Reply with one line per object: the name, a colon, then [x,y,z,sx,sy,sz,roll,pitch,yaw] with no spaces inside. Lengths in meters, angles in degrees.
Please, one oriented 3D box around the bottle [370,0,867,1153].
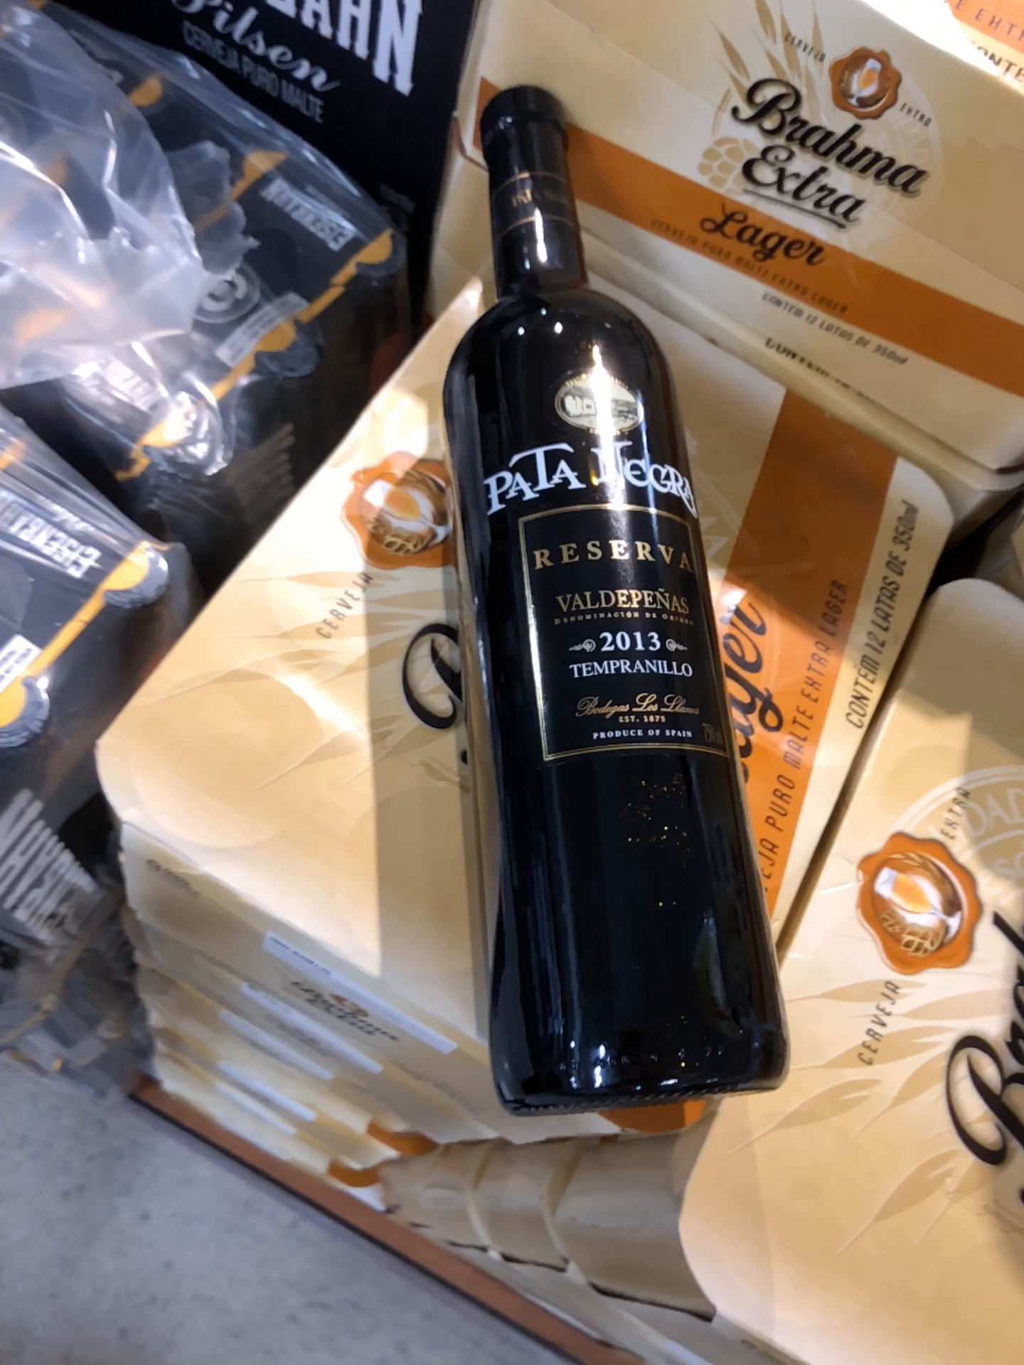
bottle: [0.009,-0.074,0.329,0.080,0.080,0.381,0,67,-13]
